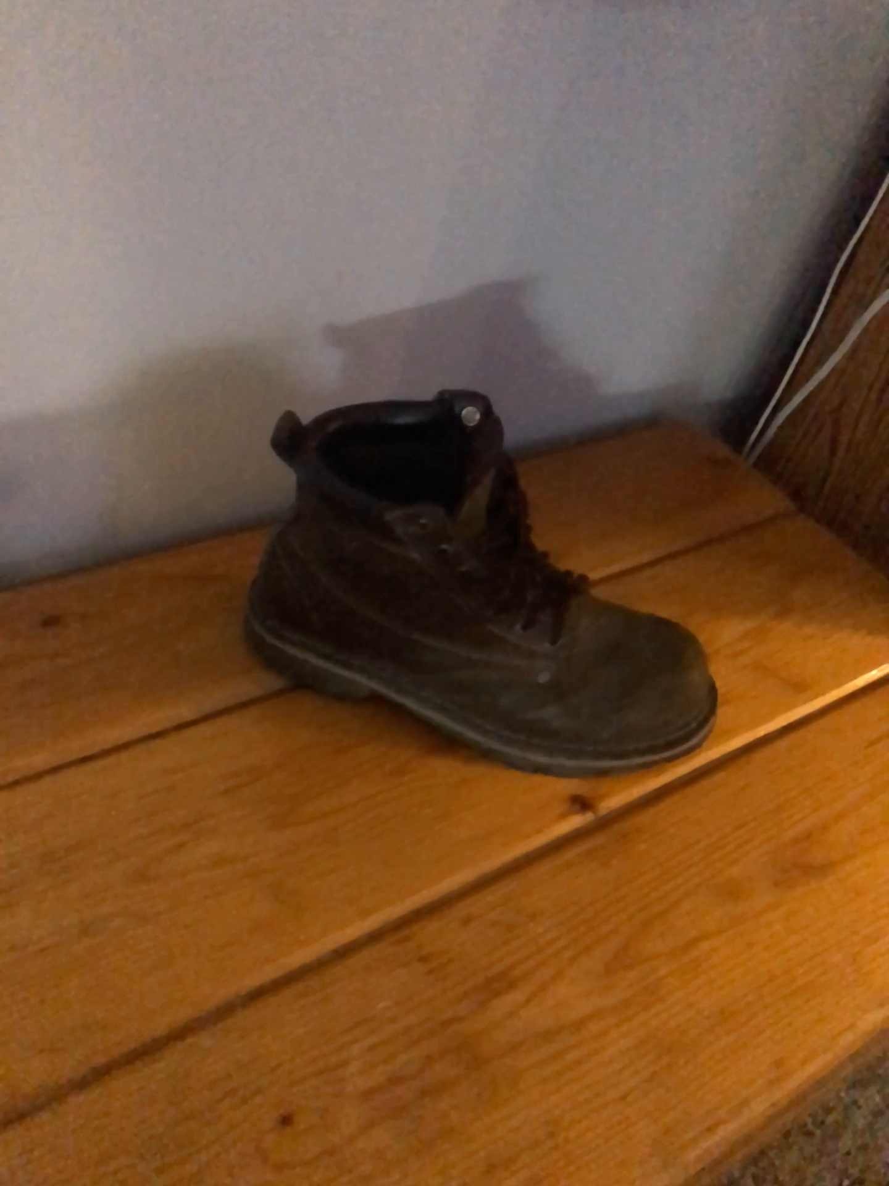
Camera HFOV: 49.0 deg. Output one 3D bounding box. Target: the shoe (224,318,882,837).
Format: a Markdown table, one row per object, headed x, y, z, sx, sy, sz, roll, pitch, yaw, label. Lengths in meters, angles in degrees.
| x | y | z | sx | sy | sz | roll | pitch | yaw | label |
| --- | --- | --- | --- | --- | --- | --- | --- | --- | --- |
| 0.049 | -0.006 | 0.576 | 0.320 | 0.189 | 0.130 | 16 | 43 | 2 | shoe |
